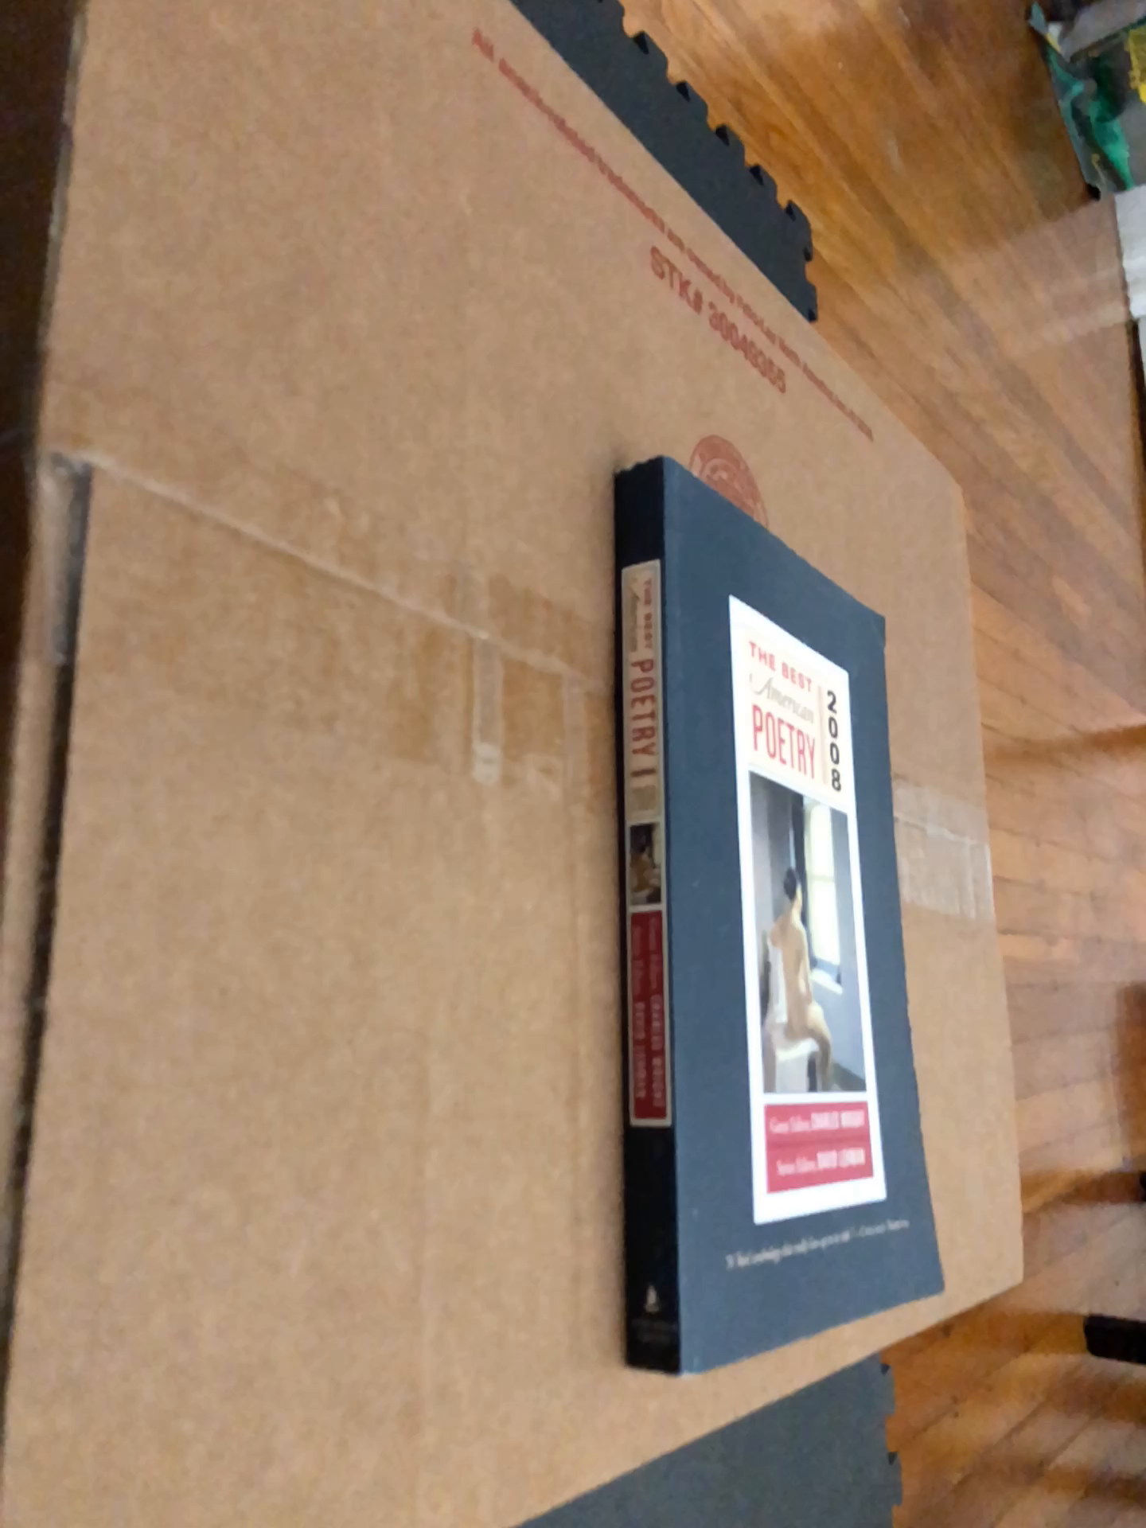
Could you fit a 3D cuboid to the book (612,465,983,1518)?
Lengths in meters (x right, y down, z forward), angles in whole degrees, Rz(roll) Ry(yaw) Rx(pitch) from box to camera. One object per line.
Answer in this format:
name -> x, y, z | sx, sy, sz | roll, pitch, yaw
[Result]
book -> 0.065, 0.054, 0.342 | 0.151, 0.020, 0.230 | 17, 66, -52
